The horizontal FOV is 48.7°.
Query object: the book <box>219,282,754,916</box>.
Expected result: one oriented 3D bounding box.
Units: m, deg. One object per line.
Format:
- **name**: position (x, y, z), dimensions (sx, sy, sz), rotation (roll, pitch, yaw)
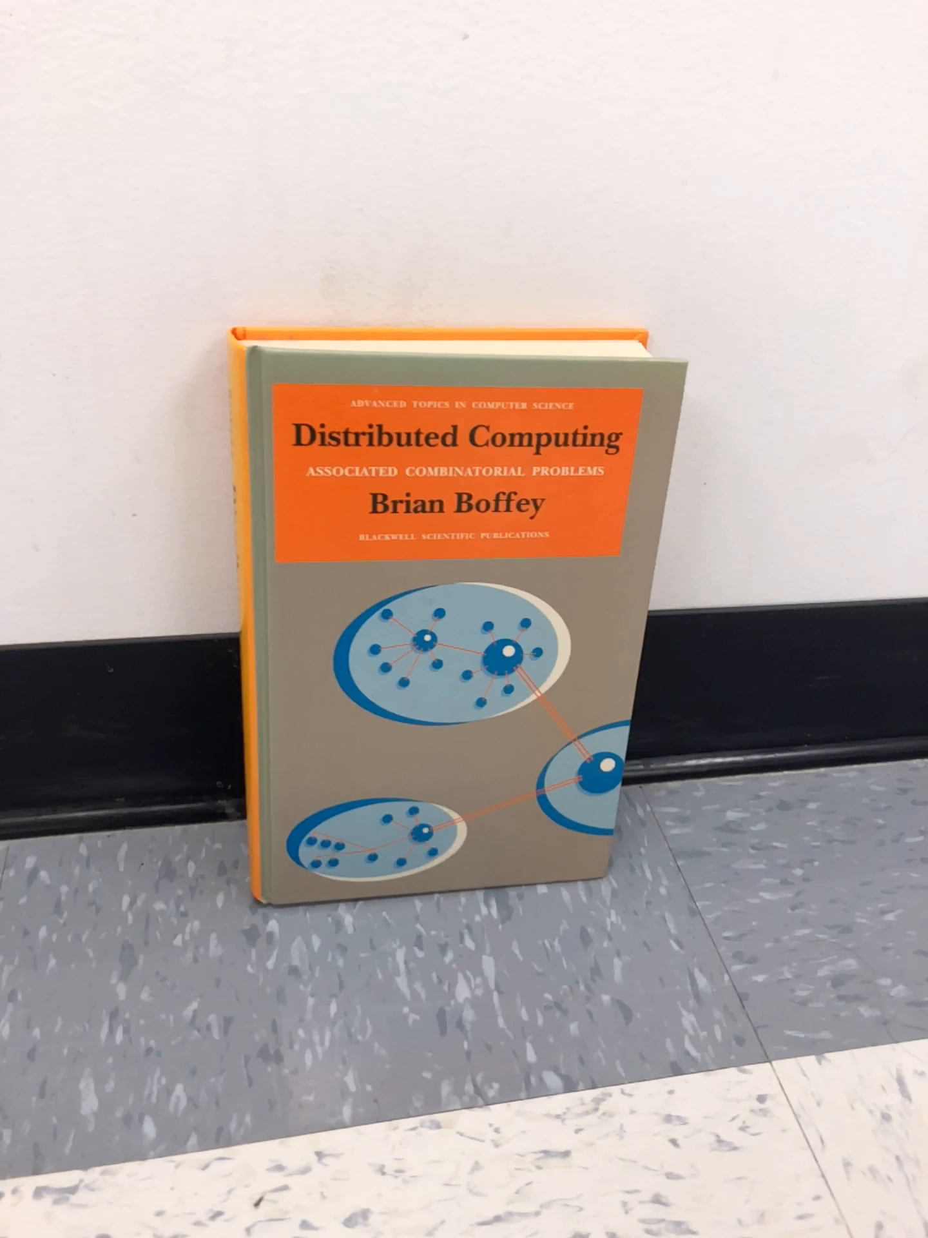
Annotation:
- **book**: position (0.000, 0.000, 0.396), dimensions (0.170, 0.239, 0.050), rotation (-2, 29, -10)
